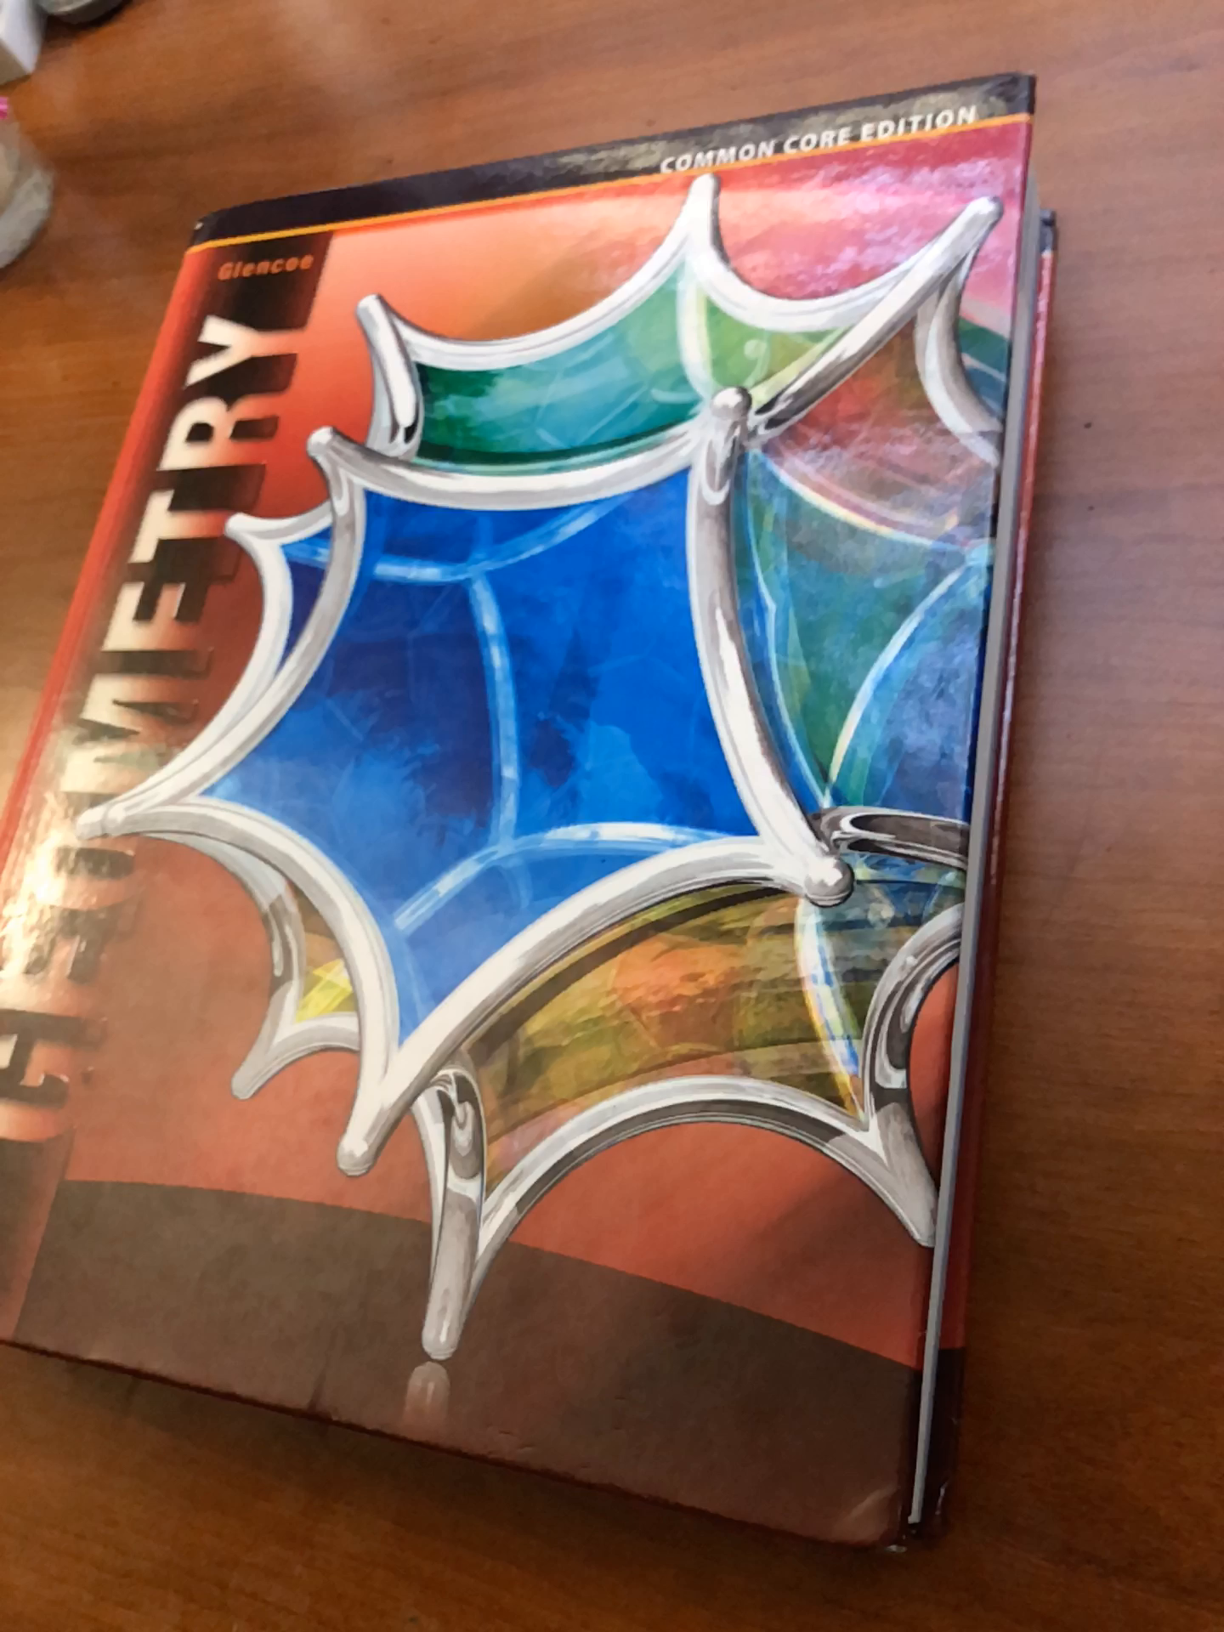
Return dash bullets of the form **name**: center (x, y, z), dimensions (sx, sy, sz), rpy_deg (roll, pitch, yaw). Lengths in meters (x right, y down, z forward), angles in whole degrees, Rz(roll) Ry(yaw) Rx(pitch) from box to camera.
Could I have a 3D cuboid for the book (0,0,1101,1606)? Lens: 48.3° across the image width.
- **book**: center (-0.022, -0.030, 0.307), dimensions (0.229, 0.050, 0.311), rpy_deg (3, 69, 23)
